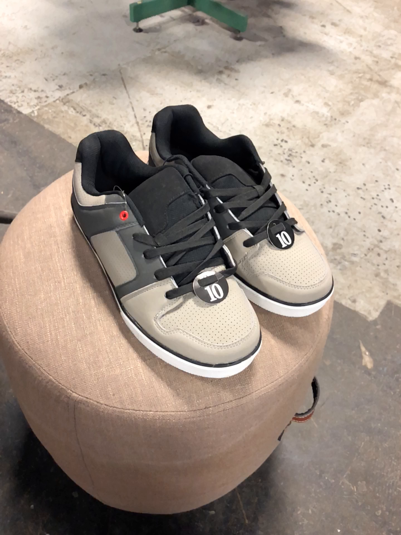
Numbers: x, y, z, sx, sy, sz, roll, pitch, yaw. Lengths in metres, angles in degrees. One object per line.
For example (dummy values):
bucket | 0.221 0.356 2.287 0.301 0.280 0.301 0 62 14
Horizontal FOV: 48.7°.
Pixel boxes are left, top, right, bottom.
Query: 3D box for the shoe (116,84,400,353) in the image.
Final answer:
shoe | 0.041 -0.073 0.499 0.120 0.099 0.311 -29 59 -25

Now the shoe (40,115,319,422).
shoe | -0.035 -0.014 0.430 0.120 0.119 0.261 -26 58 -24
